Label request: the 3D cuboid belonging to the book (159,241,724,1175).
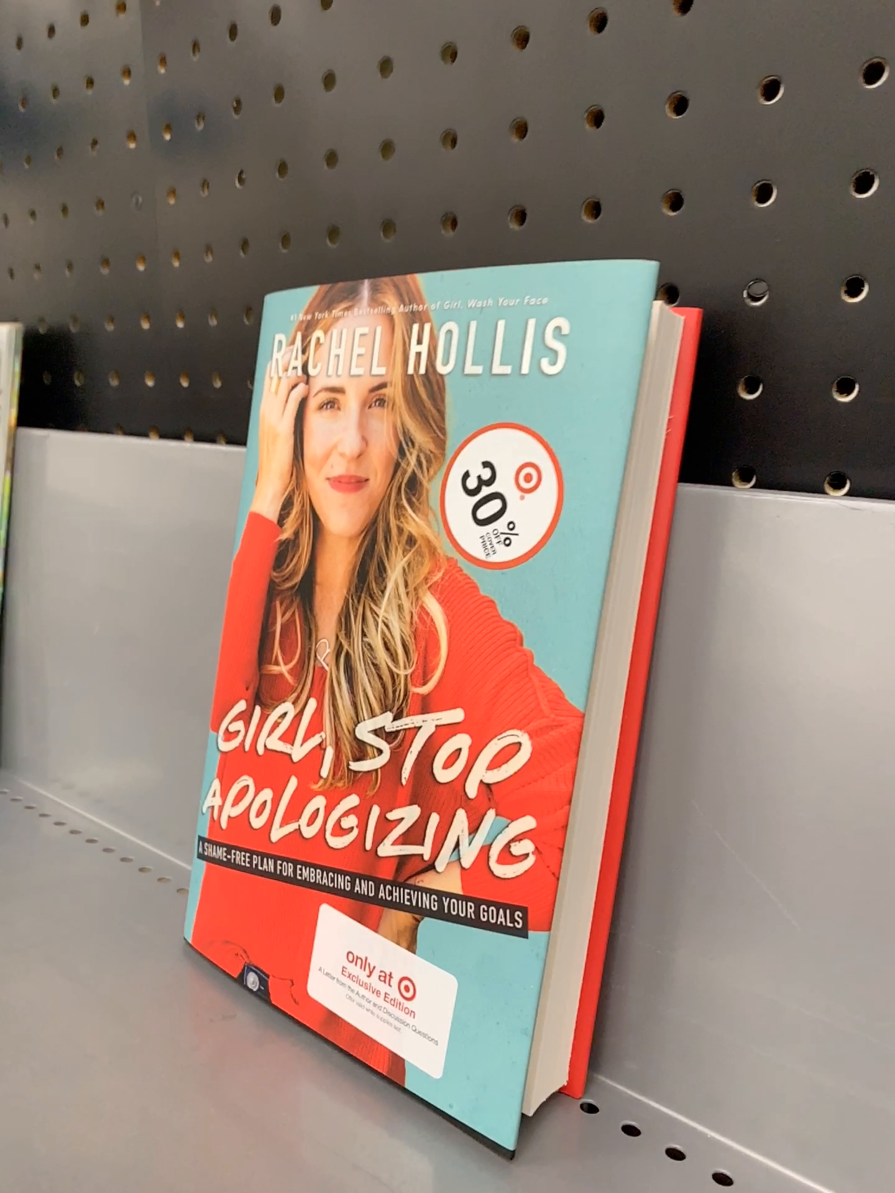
[{"bbox_3d":[-0.014,0.018,0.276,0.149,0.220,0.035,12,4,40],"label":"book"}]
